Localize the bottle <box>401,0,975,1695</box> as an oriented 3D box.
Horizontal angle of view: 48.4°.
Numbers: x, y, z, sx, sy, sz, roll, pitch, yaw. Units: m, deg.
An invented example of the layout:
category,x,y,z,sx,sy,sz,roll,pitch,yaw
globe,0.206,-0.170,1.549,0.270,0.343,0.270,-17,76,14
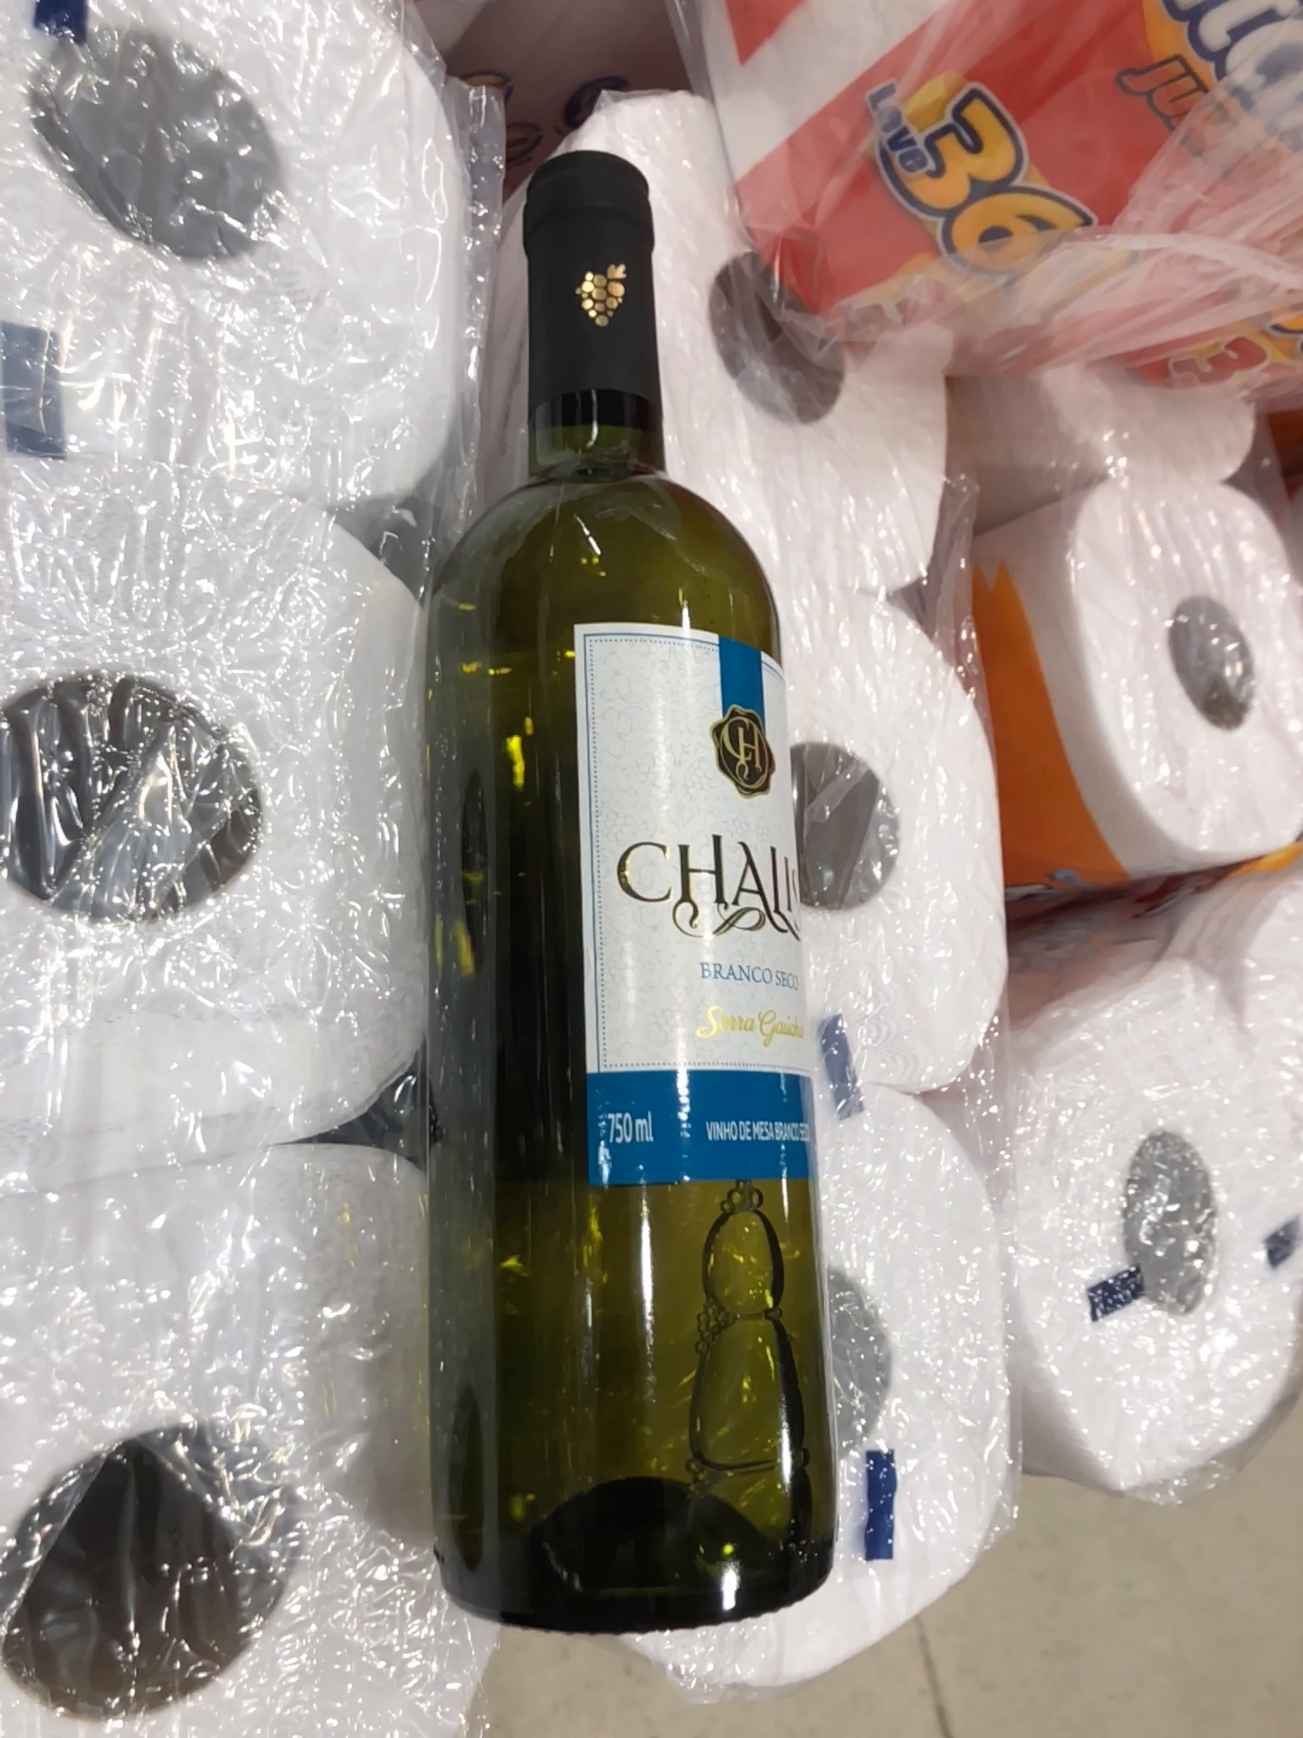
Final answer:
category,x,y,z,sx,sy,sz,roll,pitch,yaw
bottle,0.003,-0.012,0.280,0.080,0.060,0.280,13,69,-47
